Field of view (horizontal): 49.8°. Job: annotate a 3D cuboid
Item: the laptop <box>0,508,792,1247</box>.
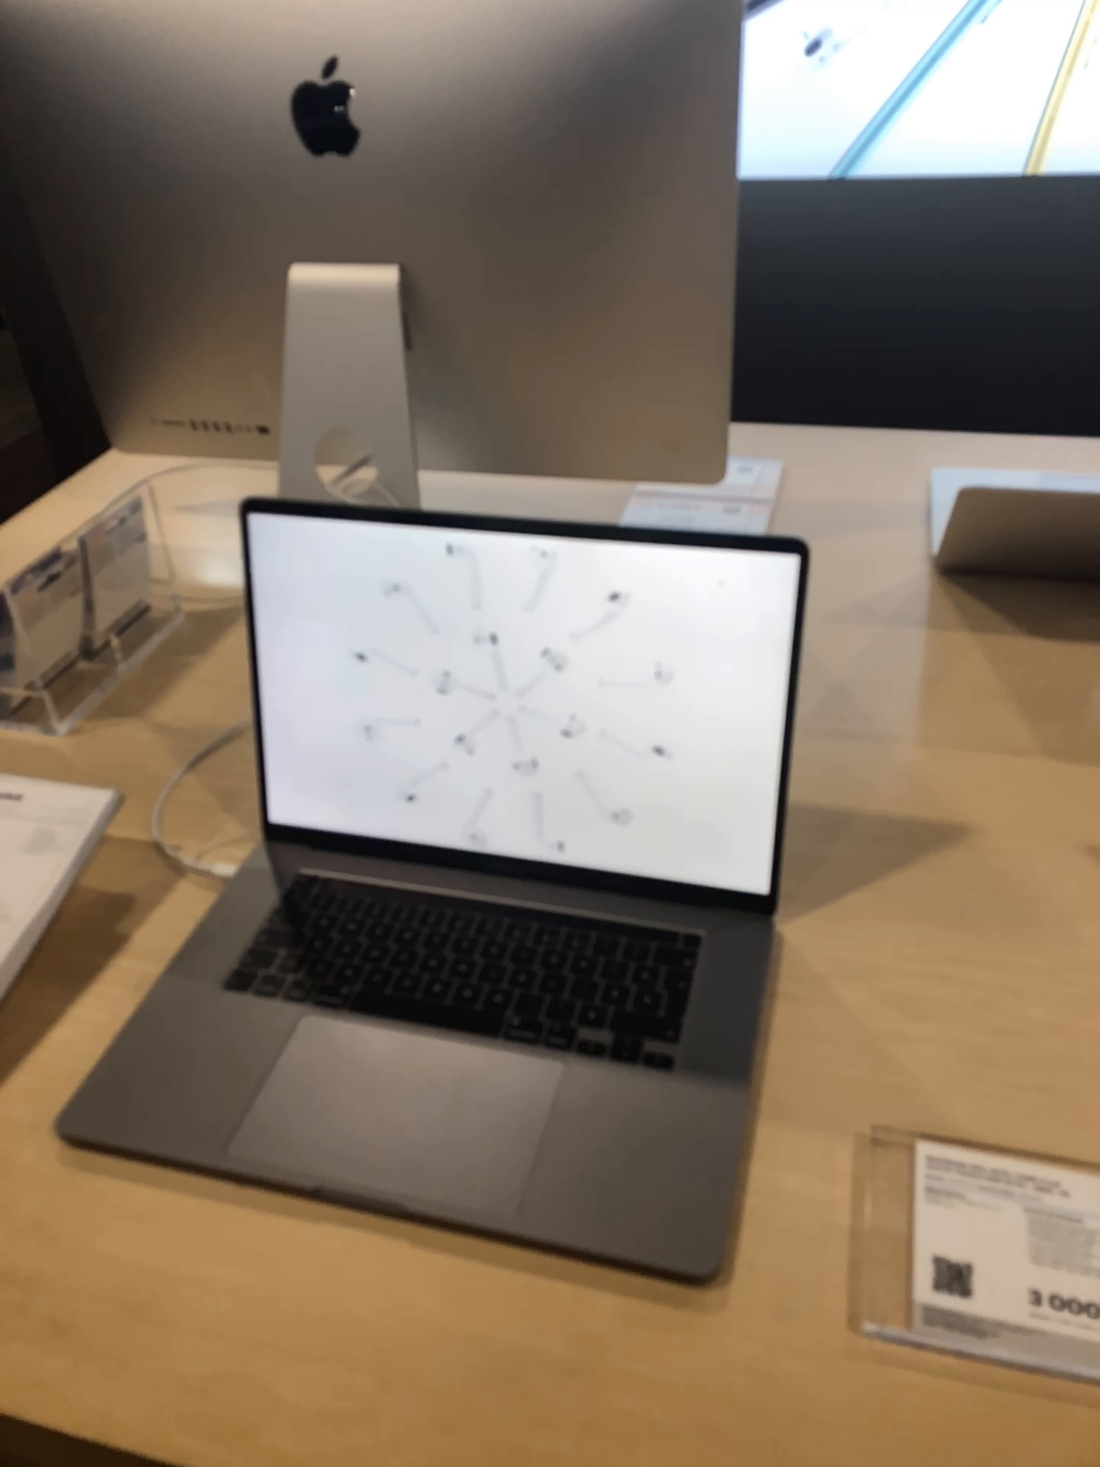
[{"bbox_3d":[-0.066,0.049,0.639,0.344,0.227,0.292,6,35,14],"label":"laptop"}]
